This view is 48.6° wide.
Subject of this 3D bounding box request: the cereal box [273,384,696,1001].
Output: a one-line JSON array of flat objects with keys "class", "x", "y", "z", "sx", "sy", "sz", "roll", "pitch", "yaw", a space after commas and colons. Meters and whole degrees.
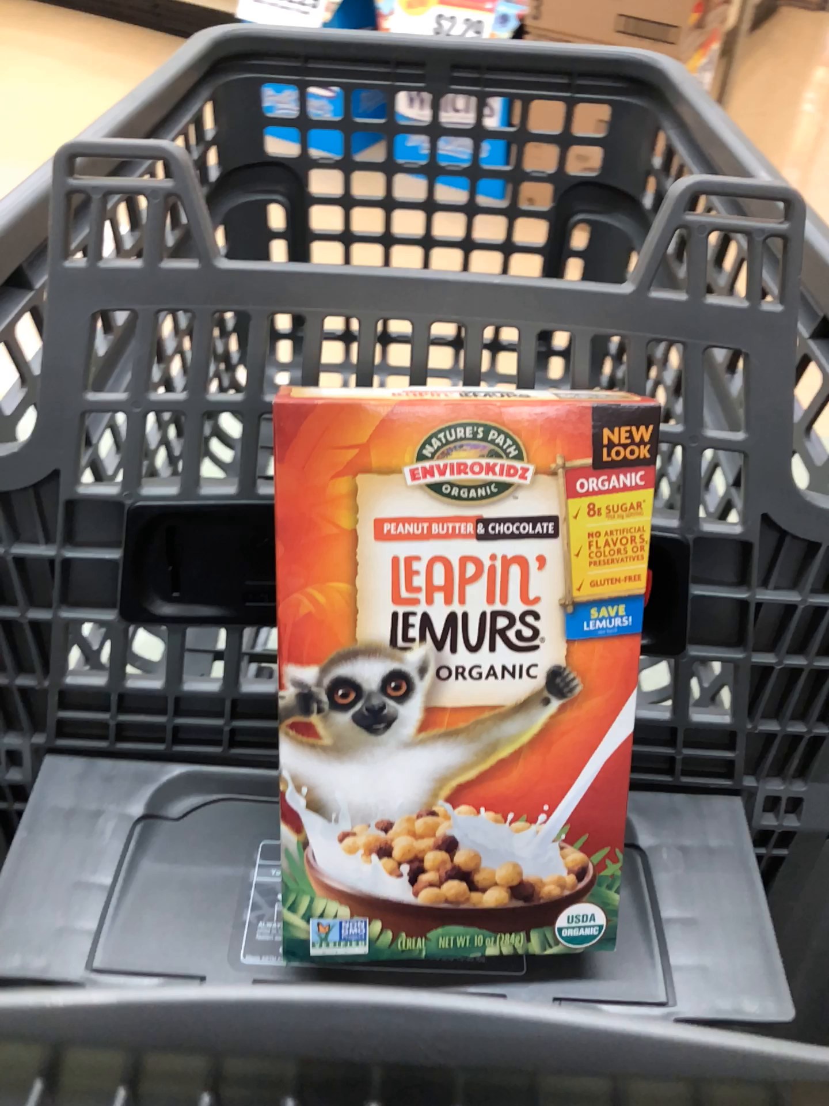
[{"class": "cereal box", "x": 0.024, "y": 0.059, "z": 0.409, "sx": 0.160, "sy": 0.260, "sz": 0.070, "roll": 0, "pitch": 13, "yaw": -5}]
